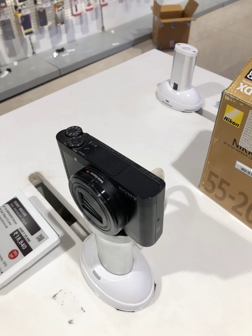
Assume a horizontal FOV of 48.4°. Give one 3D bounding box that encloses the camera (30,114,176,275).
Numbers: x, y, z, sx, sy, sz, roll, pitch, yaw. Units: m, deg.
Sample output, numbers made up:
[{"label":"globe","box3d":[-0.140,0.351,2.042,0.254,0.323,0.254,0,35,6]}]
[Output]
[{"label":"camera","box3d":[-0.020,0.017,0.209,0.110,0.070,0.030,34,56,30]}]
